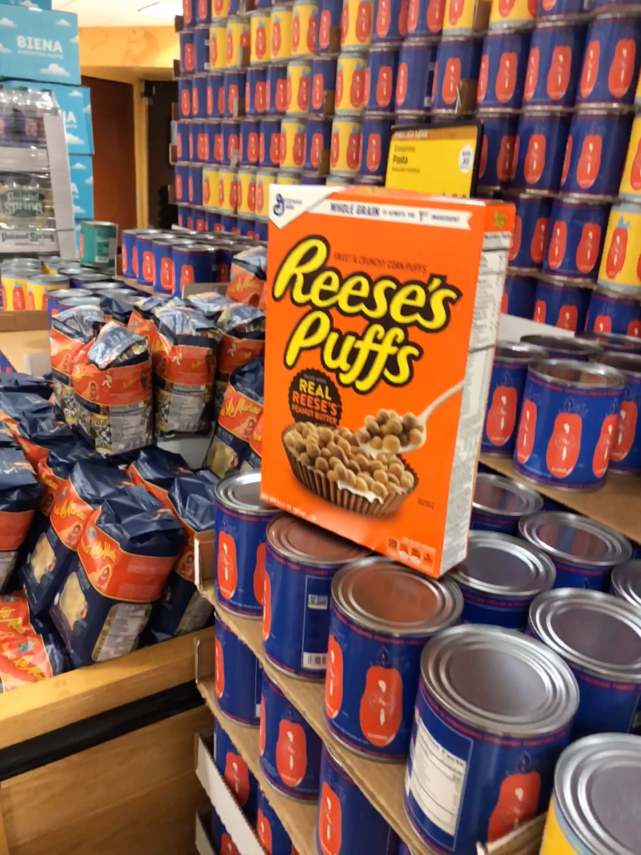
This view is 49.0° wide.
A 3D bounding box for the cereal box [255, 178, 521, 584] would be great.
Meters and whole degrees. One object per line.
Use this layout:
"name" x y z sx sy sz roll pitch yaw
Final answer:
"cereal box" 0.039 -0.046 0.578 0.200 0.288 0.050 19 24 36
